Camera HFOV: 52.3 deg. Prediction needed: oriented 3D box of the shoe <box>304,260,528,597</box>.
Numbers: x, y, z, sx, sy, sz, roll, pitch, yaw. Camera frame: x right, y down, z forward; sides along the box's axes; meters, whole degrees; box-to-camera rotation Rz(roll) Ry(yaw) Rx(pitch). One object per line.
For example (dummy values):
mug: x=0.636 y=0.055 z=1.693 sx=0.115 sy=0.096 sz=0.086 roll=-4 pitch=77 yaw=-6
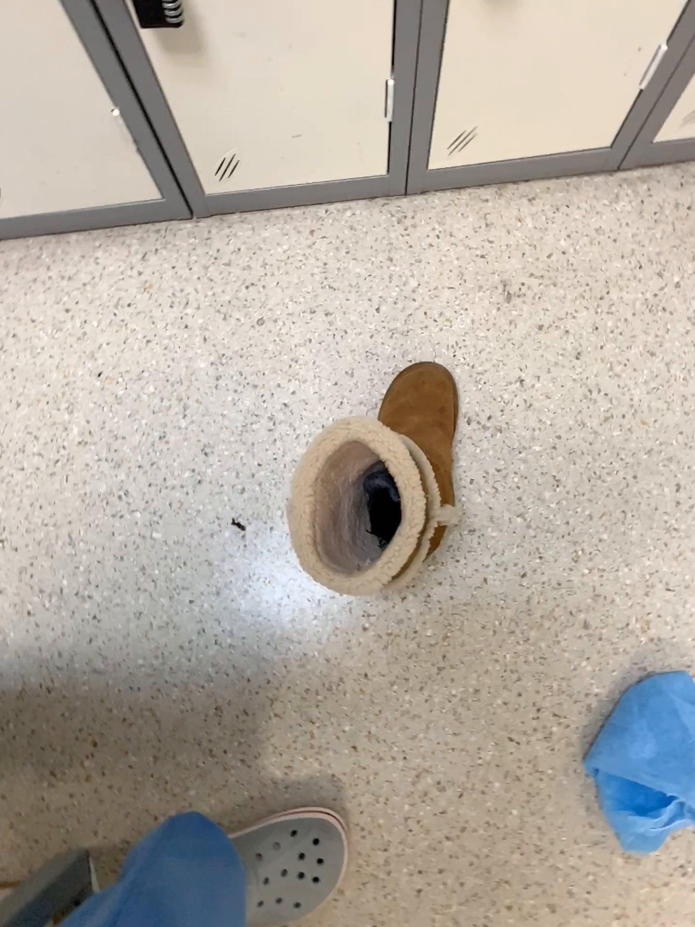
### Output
shoe: x=0.074 y=-0.019 z=0.797 sx=0.158 sy=0.245 sz=0.306 roll=12 pitch=80 yaw=4
